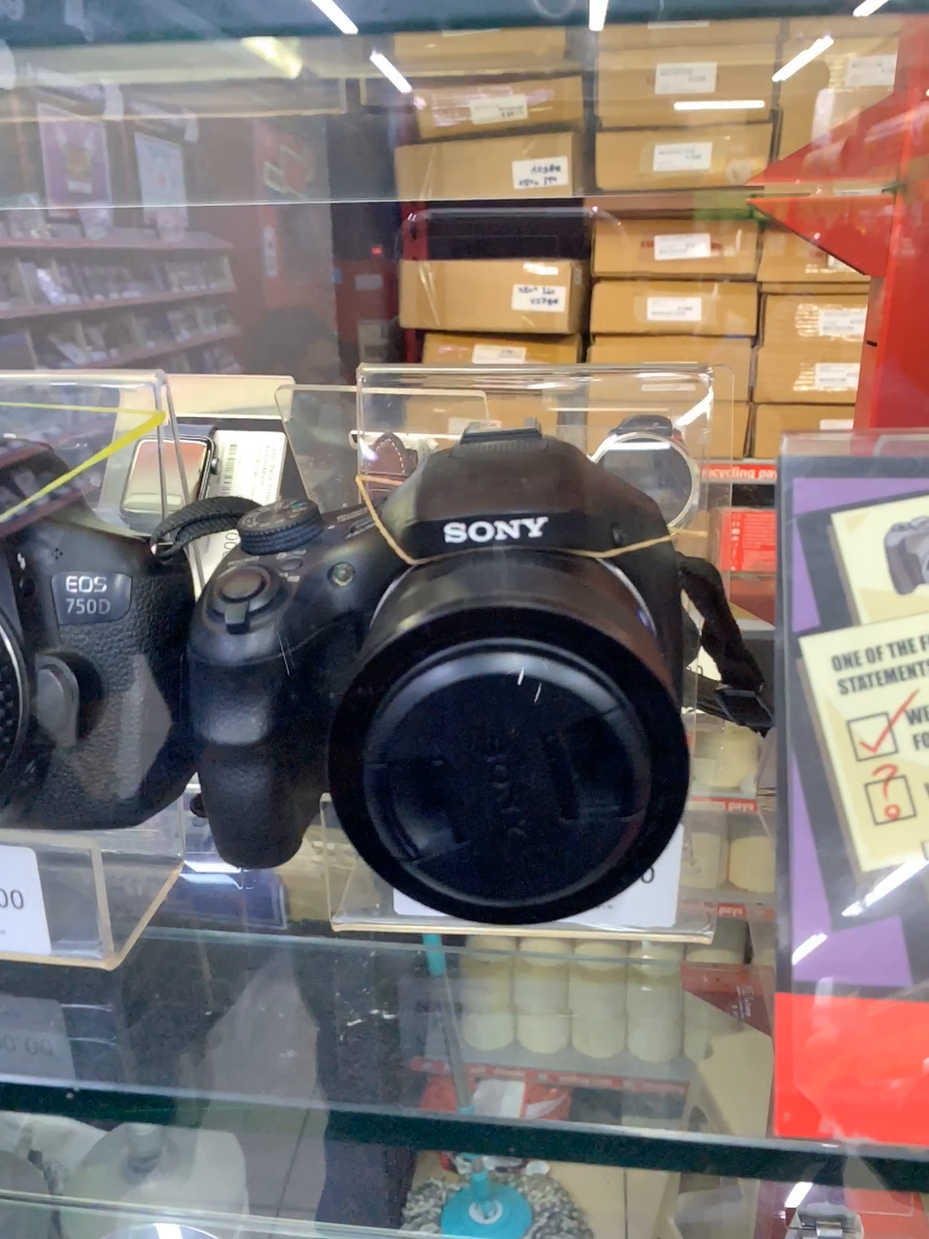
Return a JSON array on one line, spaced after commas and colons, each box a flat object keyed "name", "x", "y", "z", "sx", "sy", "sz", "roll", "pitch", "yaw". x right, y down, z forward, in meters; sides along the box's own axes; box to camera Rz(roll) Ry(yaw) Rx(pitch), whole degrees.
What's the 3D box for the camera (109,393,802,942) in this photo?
[{"name": "camera", "x": 0.000, "y": 0.004, "z": 0.224, "sx": 0.120, "sy": 0.100, "sz": 0.090, "roll": 0, "pitch": 20, "yaw": 2}]
